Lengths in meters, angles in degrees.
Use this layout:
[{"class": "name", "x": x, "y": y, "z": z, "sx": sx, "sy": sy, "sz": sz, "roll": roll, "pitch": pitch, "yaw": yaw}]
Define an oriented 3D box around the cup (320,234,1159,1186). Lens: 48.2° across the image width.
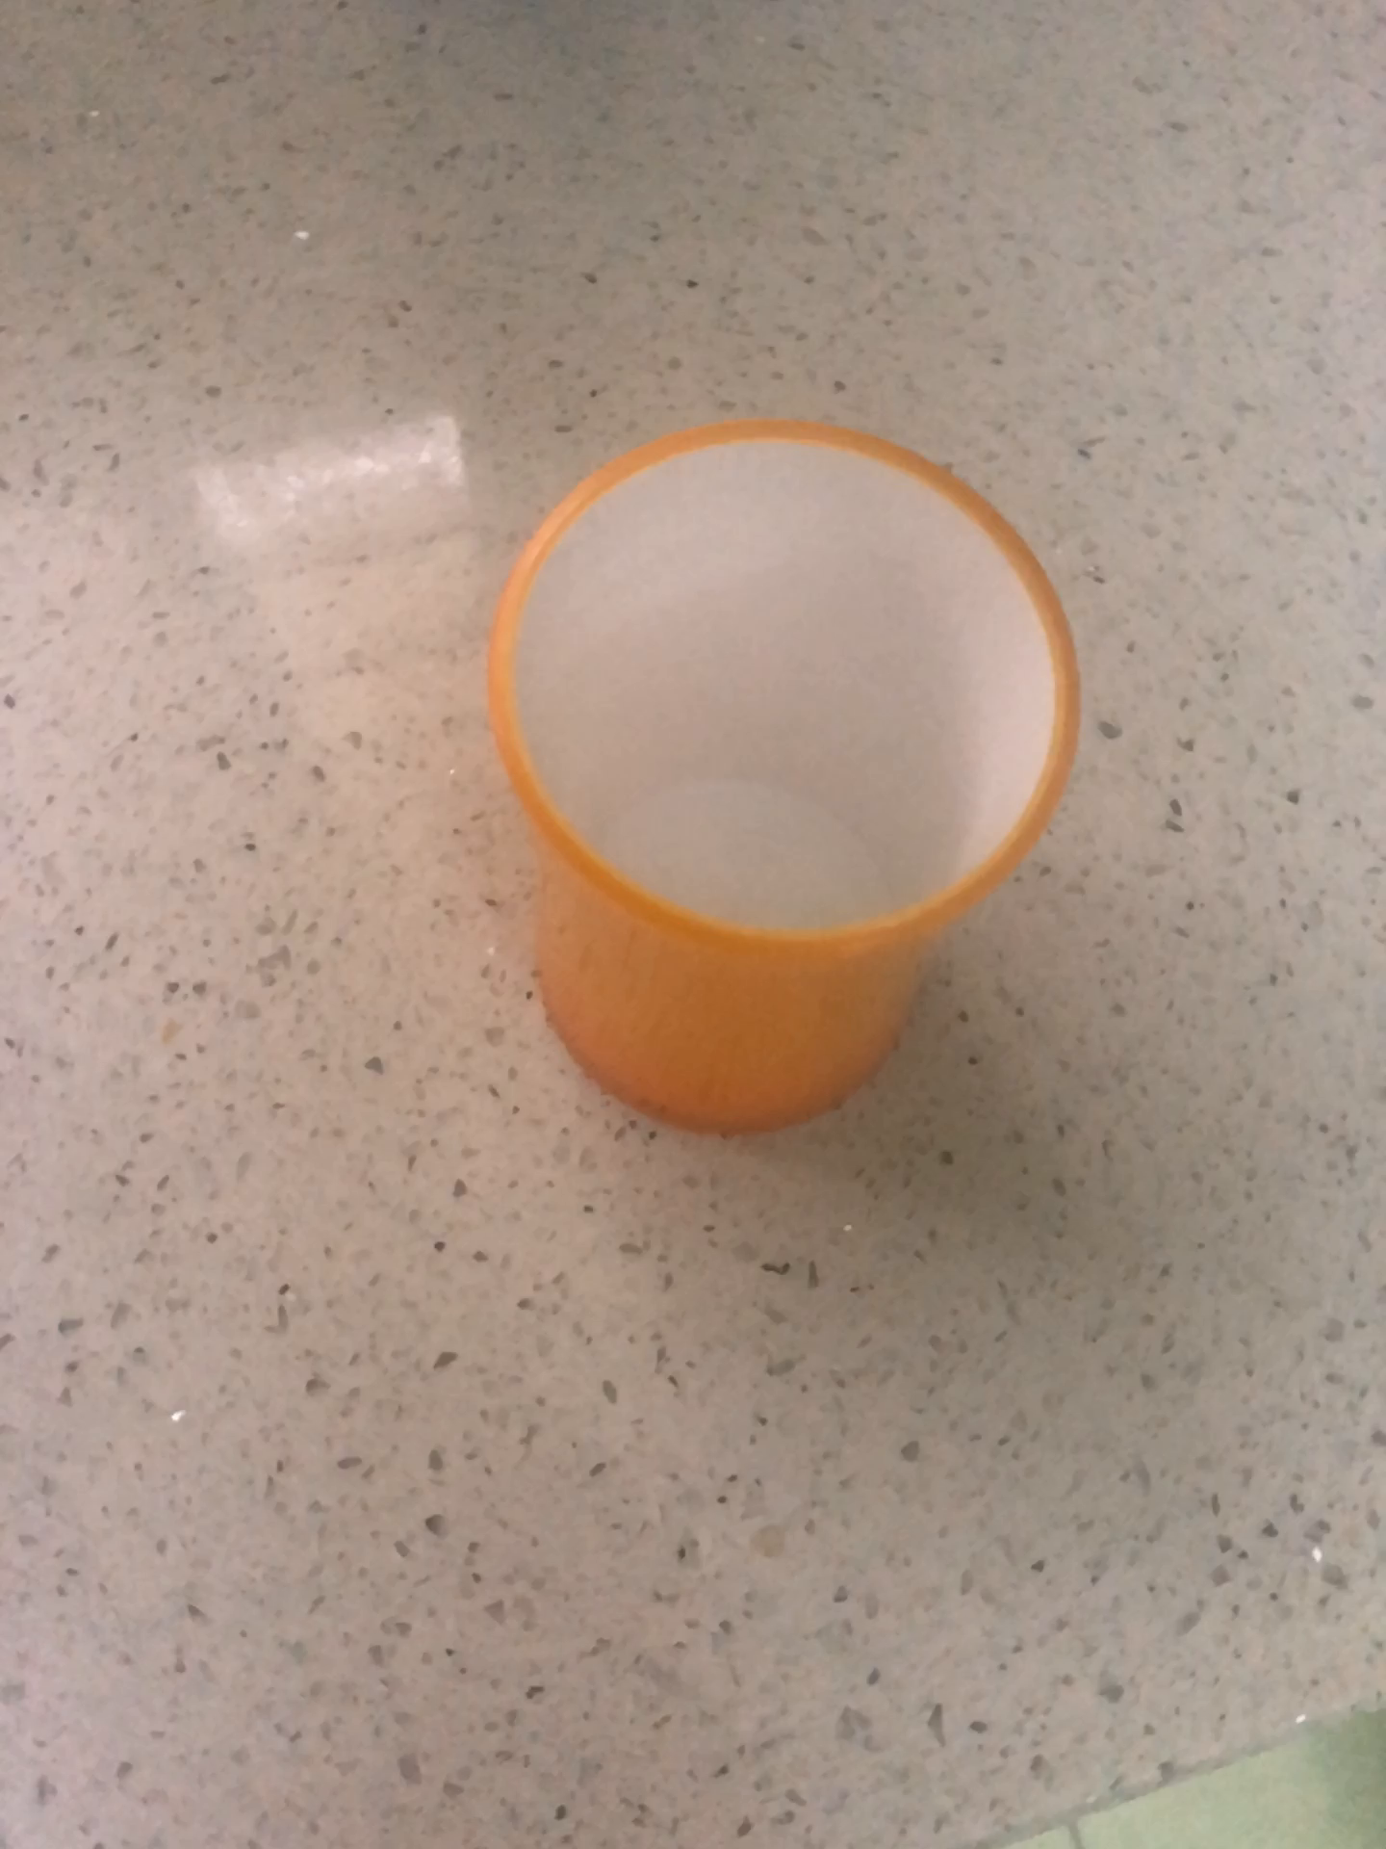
[{"class": "cup", "x": 0.007, "y": -0.020, "z": 0.222, "sx": 0.080, "sy": 0.110, "sz": 0.080, "roll": 1, "pitch": 69, "yaw": -2}]
